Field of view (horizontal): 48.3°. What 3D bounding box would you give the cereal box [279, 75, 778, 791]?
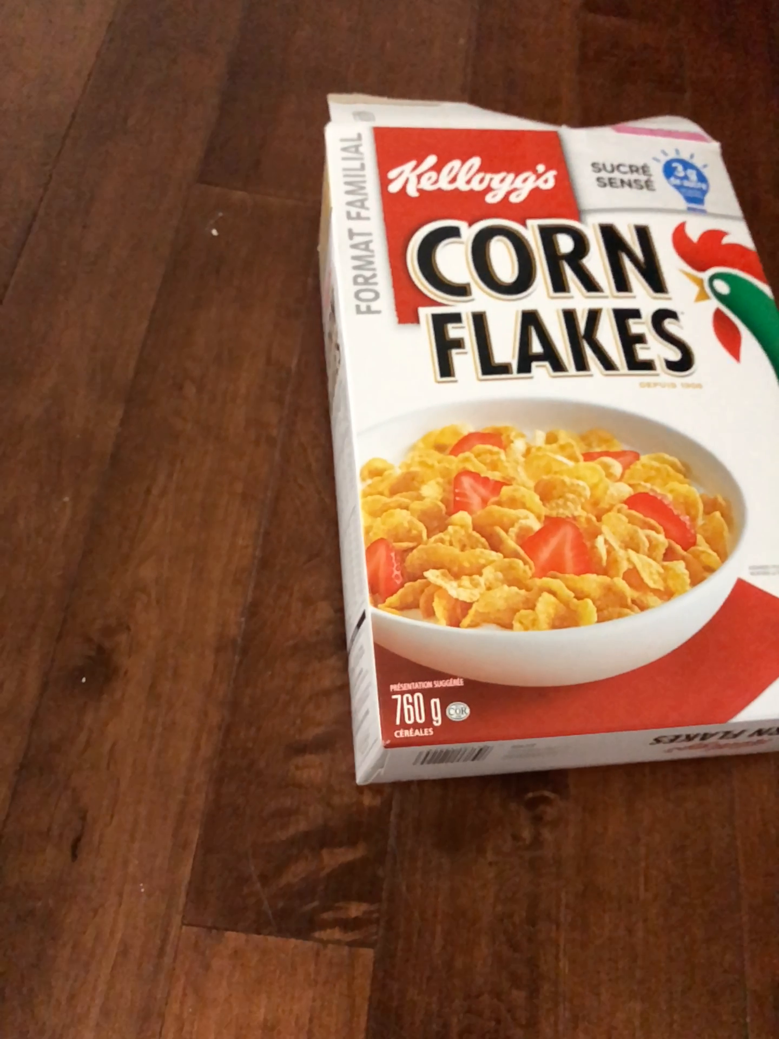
[{"bbox_3d":[0.077,-0.064,0.477,0.260,0.090,0.380,-1,66,-9],"label":"cereal box"}]
